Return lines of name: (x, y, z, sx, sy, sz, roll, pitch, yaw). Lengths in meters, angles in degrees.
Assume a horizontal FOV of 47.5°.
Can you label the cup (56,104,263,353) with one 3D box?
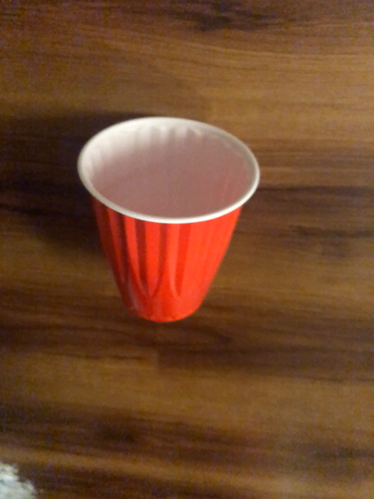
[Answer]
cup: (-0.014, -0.011, 0.272, 0.099, 0.089, 0.115, 10, 134, 1)
